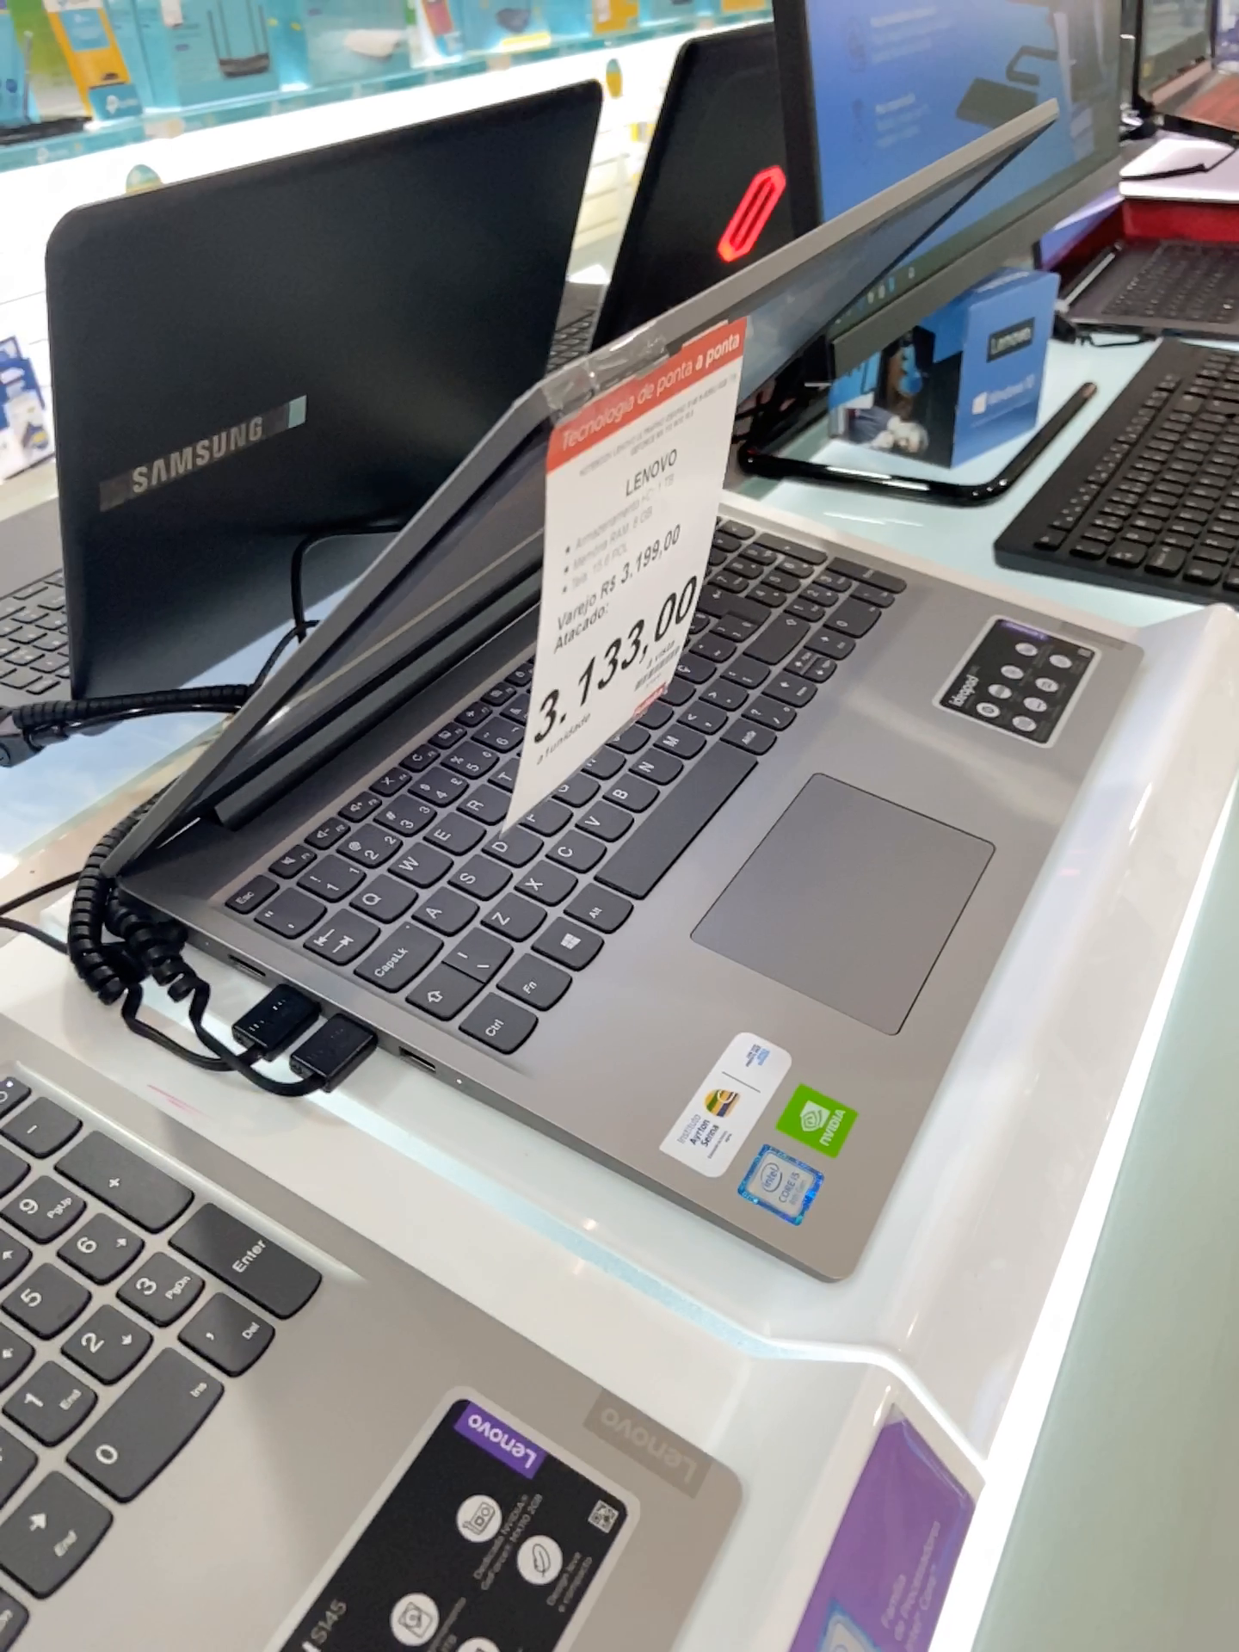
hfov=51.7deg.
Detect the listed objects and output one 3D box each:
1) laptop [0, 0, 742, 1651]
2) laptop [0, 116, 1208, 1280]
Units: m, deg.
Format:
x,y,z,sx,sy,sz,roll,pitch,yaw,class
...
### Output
x,y,z,sx,sy,sz,roll,pitch,yaw,class
-0.224,0.066,0.142,0.351,0.224,0.348,20,39,20,laptop
0.033,-0.097,0.433,0.241,0.163,0.361,21,42,21,laptop
